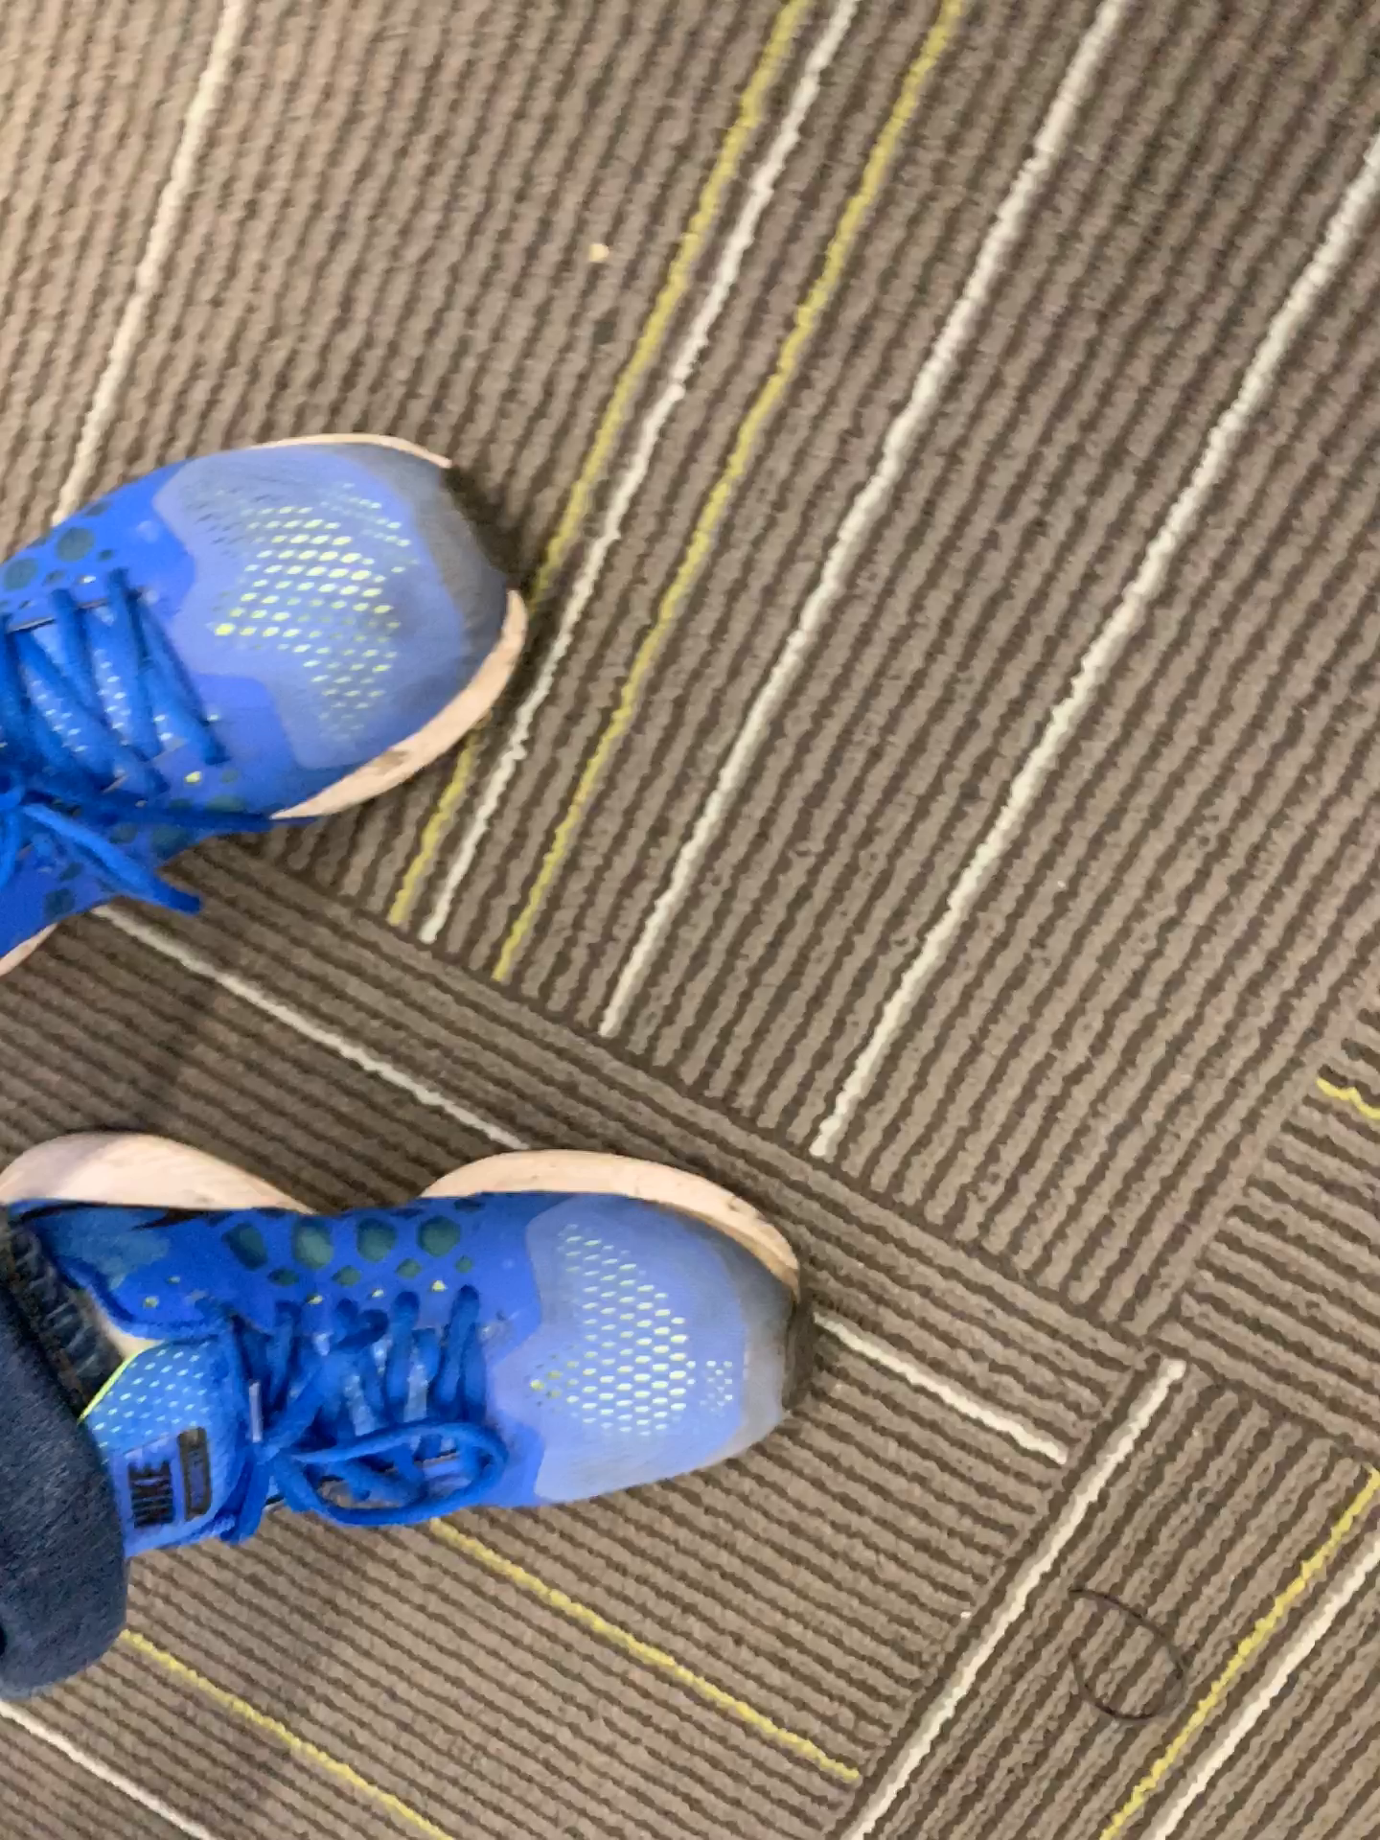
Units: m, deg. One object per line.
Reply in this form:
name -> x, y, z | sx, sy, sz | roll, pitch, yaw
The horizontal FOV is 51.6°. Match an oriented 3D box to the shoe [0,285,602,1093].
shoe -> -0.194, -0.061, 0.457 | 0.298, 0.077, 0.125 | -22, 95, 17

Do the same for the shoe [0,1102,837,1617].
shoe -> -0.110, 0.137, 0.470 | 0.300, 0.077, 0.129 | -3, 100, 14
